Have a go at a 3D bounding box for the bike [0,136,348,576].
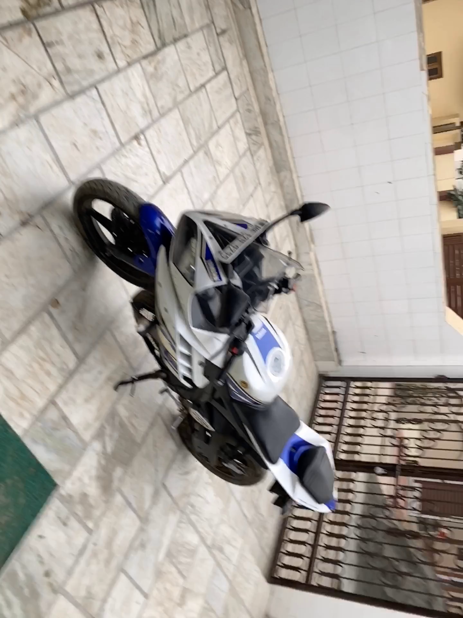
[{"bbox_3d":[-0.204,0.305,2.238,1.886,0.902,0.736,66,33,-29],"label":"bike"}]
